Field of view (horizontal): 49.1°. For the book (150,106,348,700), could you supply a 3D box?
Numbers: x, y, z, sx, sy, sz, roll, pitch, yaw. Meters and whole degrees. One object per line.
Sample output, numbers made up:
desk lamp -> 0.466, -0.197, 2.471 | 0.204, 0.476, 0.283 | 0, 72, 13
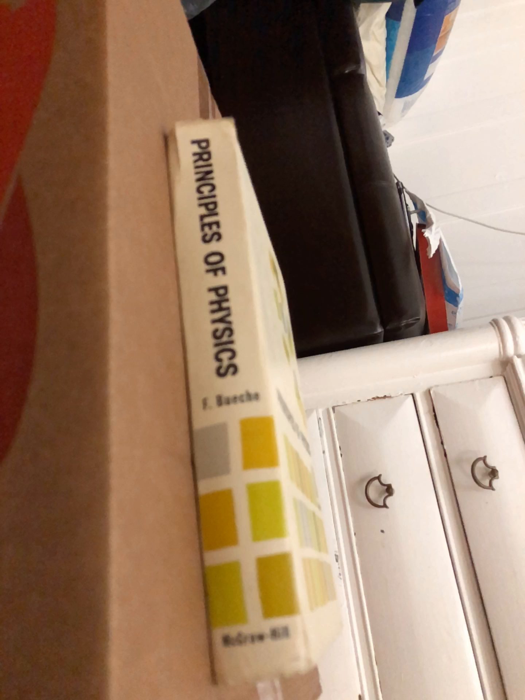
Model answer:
book -> -0.002, 0.032, 0.313 | 0.180, 0.040, 0.250 | 61, 19, -65
